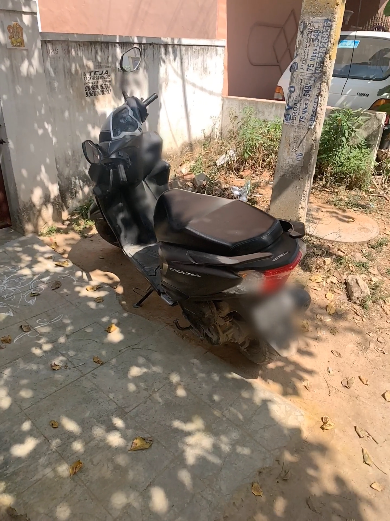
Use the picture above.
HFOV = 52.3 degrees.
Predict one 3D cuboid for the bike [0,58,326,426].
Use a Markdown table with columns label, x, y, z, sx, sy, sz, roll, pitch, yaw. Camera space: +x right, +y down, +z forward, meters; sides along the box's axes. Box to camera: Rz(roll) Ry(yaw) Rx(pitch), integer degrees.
| label | x | y | z | sx | sy | sz | roll | pitch | yaw |
| --- | --- | --- | --- | --- | --- | --- | --- | --- | --- |
| bike | -0.312 | -0.239 | 1.988 | 0.607 | 1.177 | 1.512 | -22 | 39 | -39 |
